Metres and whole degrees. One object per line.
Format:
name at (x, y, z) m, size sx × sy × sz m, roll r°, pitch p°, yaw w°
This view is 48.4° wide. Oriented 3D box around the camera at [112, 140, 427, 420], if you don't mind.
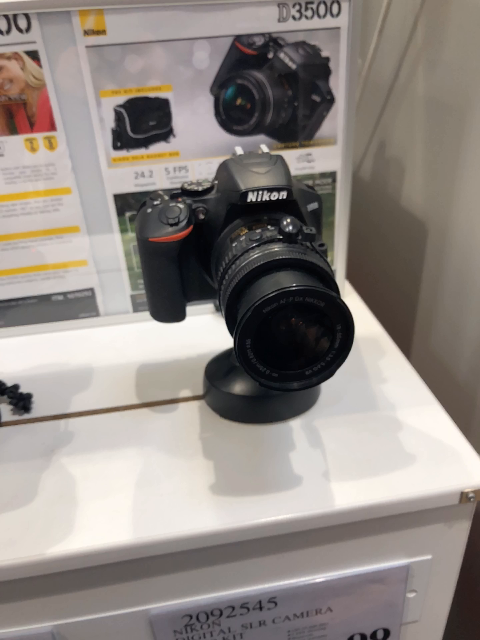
camera at (0.004, -0.034, 0.298) m, size 0.130 × 0.089 × 0.141 m, roll -7°, pitch 31°, yaw -7°
